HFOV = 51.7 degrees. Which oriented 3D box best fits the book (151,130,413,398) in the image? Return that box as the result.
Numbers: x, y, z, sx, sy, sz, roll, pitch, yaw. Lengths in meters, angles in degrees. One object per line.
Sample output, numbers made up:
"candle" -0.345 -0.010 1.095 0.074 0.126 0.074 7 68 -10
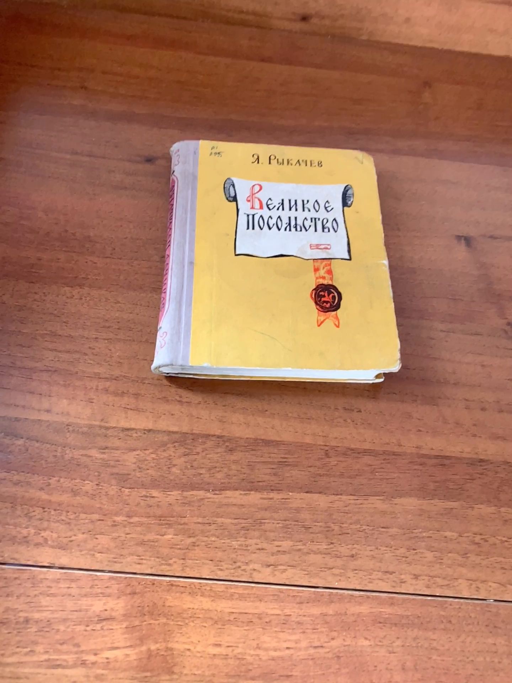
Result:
"book" 0.015 -0.053 0.328 0.142 0.023 0.171 3 66 -5
